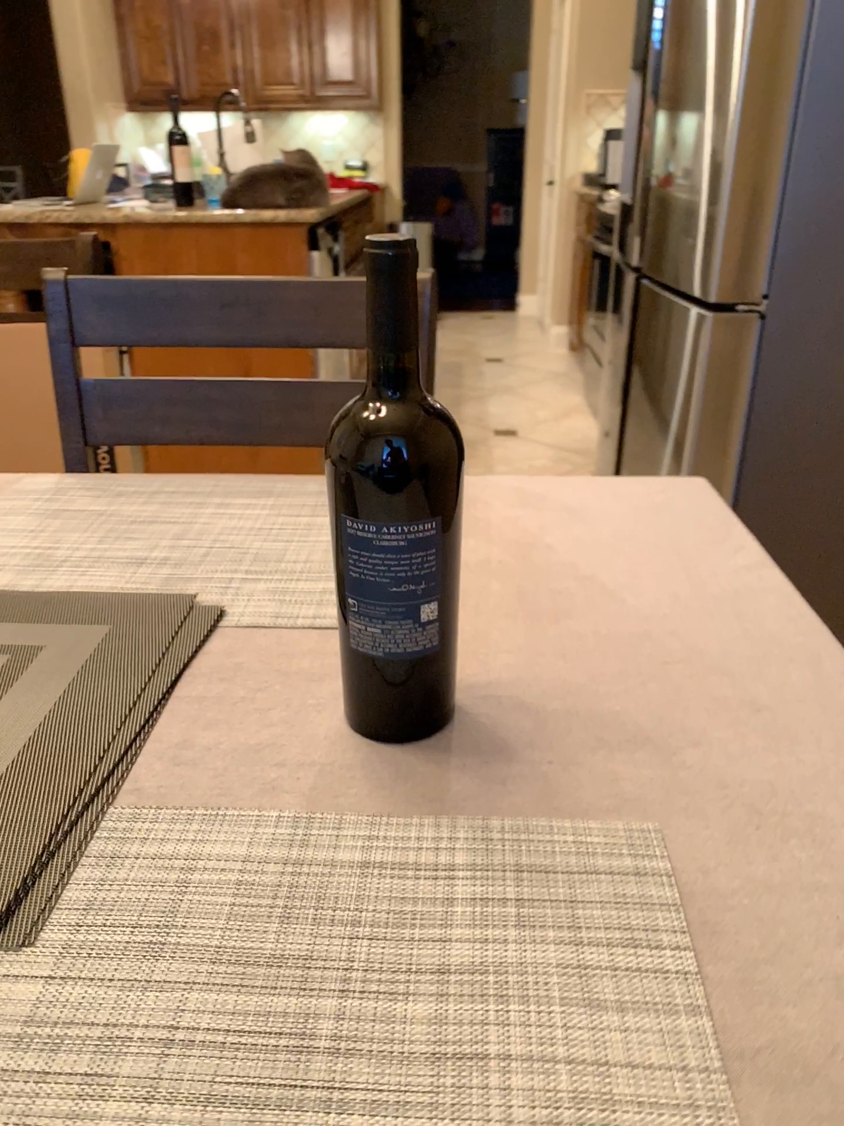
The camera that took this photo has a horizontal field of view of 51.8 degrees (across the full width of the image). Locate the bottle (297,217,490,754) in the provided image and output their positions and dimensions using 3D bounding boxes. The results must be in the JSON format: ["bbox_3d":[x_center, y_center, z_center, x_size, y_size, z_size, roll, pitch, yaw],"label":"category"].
[{"bbox_3d":[-0.013,-0.039,0.509,0.090,0.298,0.090,0,25,0],"label":"bottle"}]
